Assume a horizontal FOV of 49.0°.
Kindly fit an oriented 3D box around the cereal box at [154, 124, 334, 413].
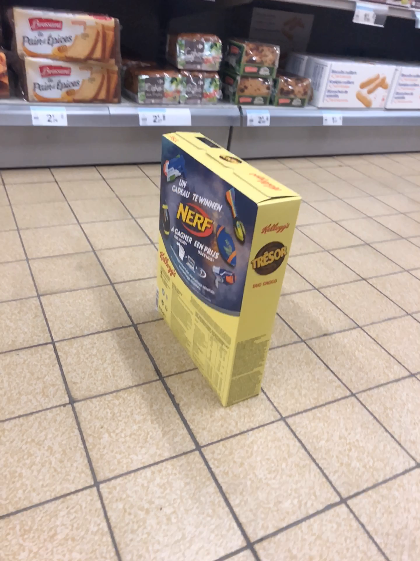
[{"bbox_3d":[0.014,-0.021,0.500,0.060,0.239,0.200,-11,36,-28],"label":"cereal box"}]
